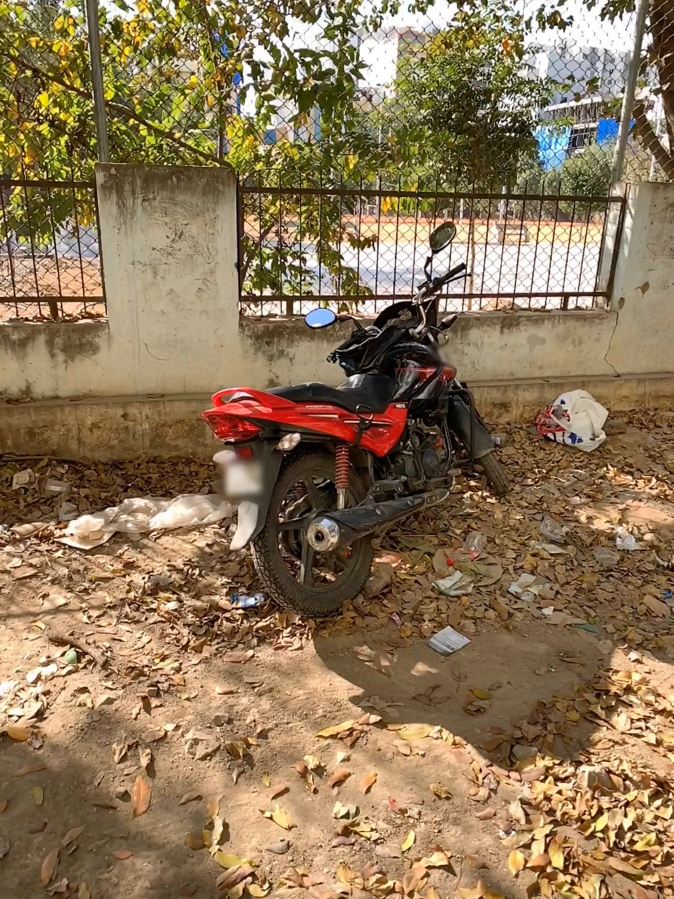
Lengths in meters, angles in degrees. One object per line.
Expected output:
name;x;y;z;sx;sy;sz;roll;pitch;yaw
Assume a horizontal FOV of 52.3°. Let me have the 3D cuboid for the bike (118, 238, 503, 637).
bike;-0.035;-0.198;2.755;0.823;1.067;1.294;14;26;32
